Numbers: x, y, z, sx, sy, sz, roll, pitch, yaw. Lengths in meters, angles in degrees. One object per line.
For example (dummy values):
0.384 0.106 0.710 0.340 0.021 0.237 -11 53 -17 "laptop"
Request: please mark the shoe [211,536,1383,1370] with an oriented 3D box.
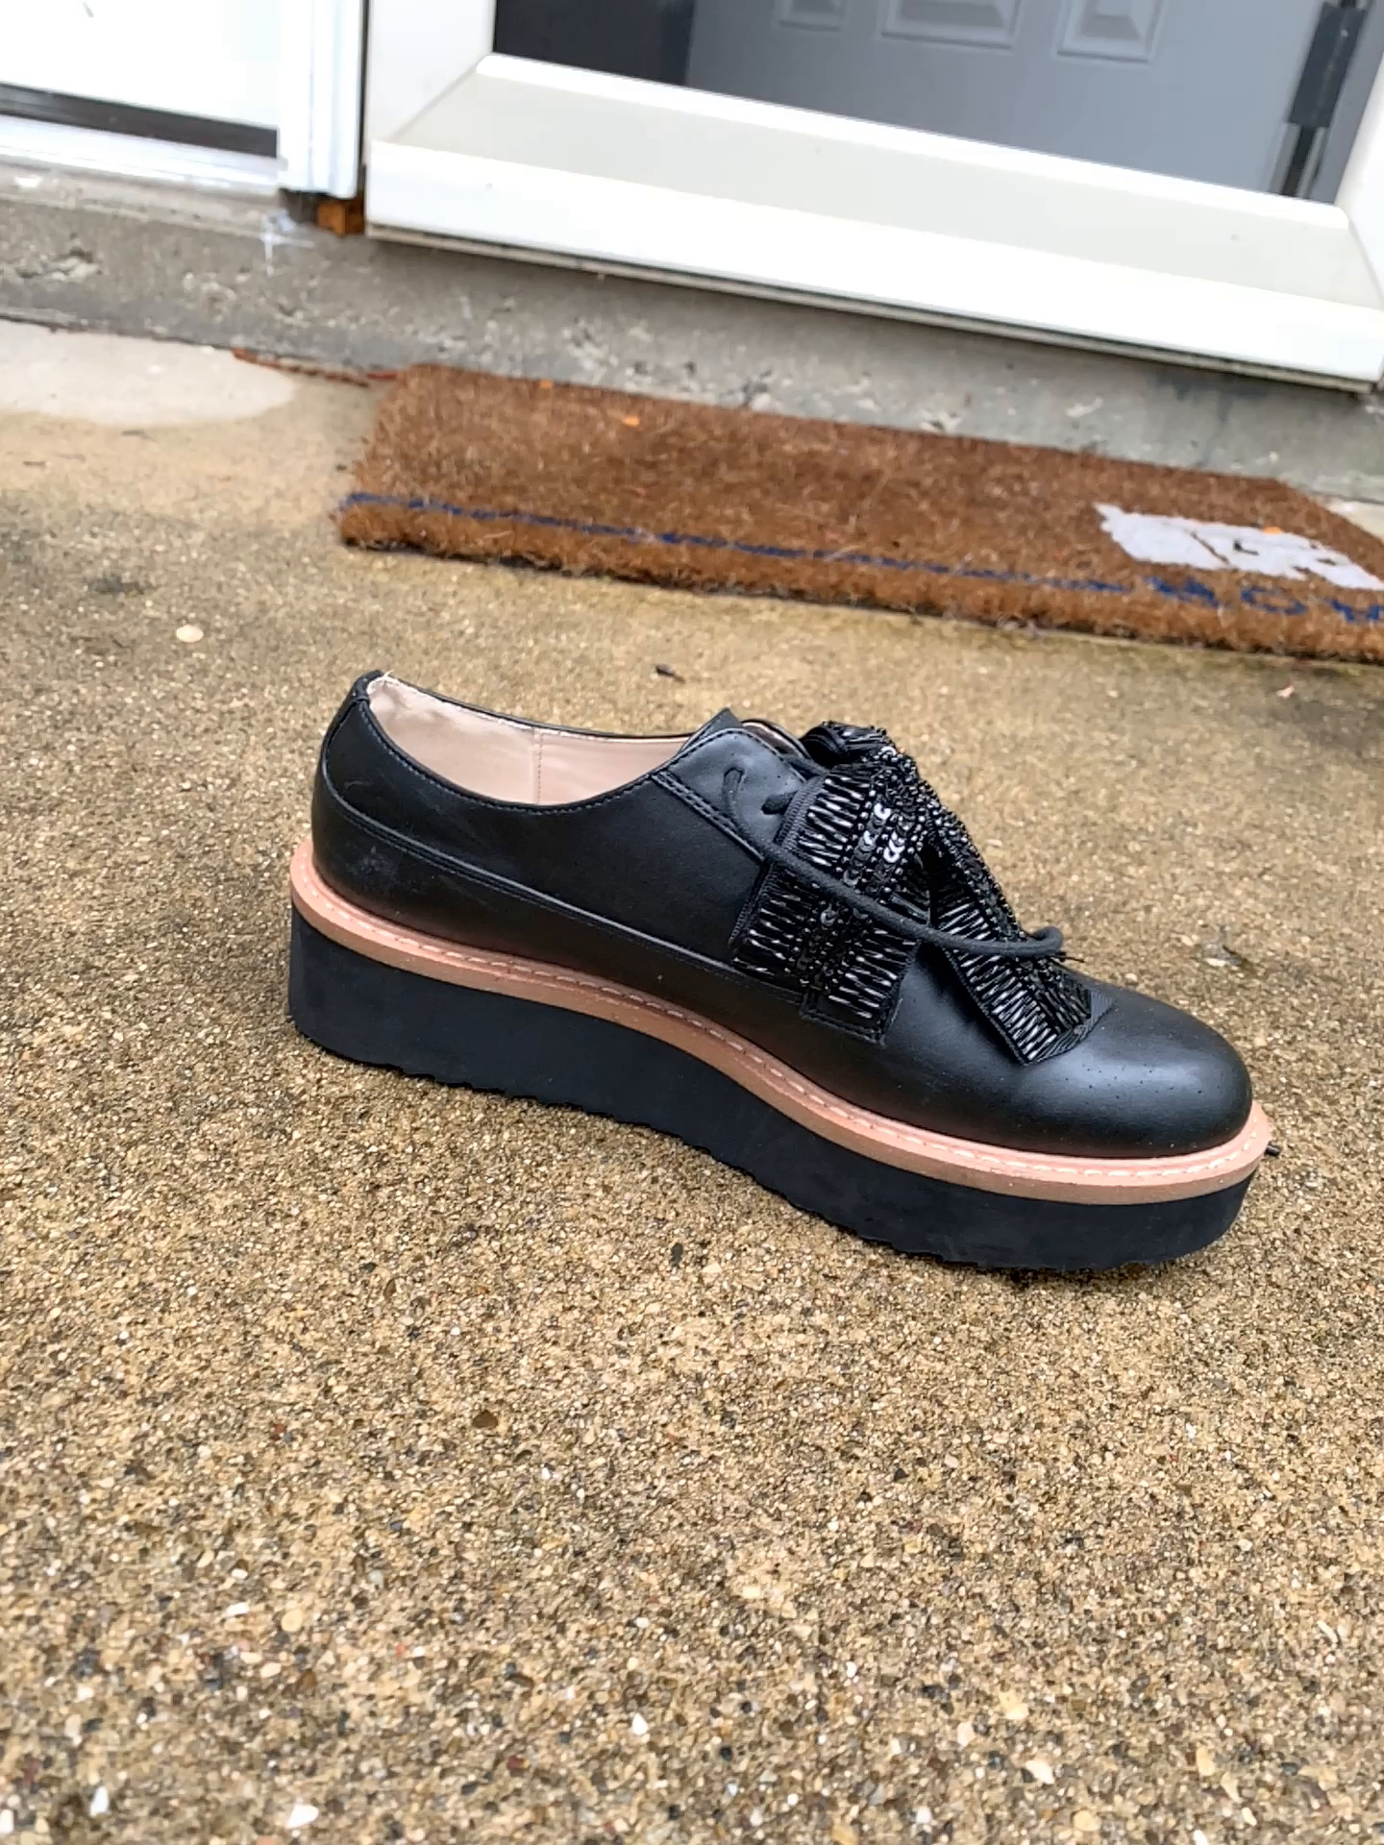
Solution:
0.022 -0.002 0.370 0.258 0.121 0.107 14 29 7 "shoe"
